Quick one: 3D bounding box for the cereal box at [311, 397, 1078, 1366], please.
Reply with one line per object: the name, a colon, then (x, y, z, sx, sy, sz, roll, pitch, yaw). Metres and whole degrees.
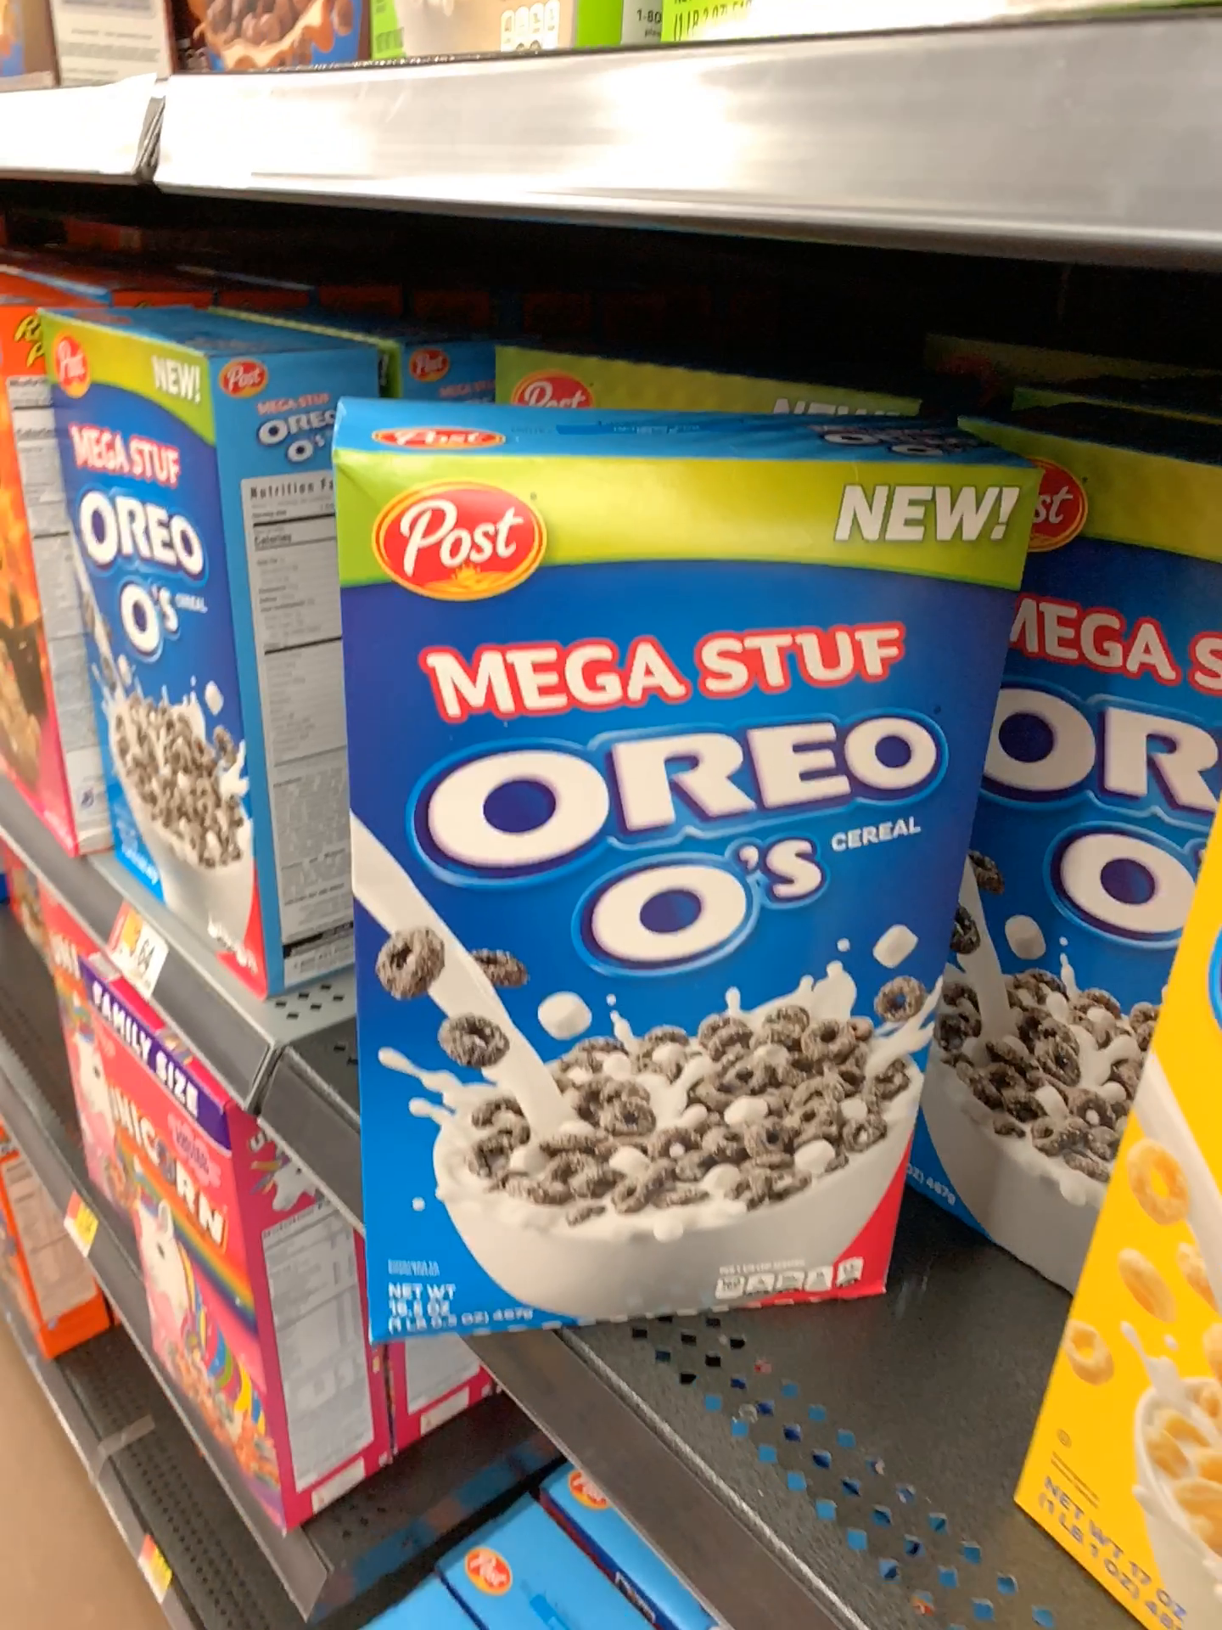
cereal box: (0.013, 0.033, 0.443, 0.210, 0.328, 0.080, -2, 27, -10)
